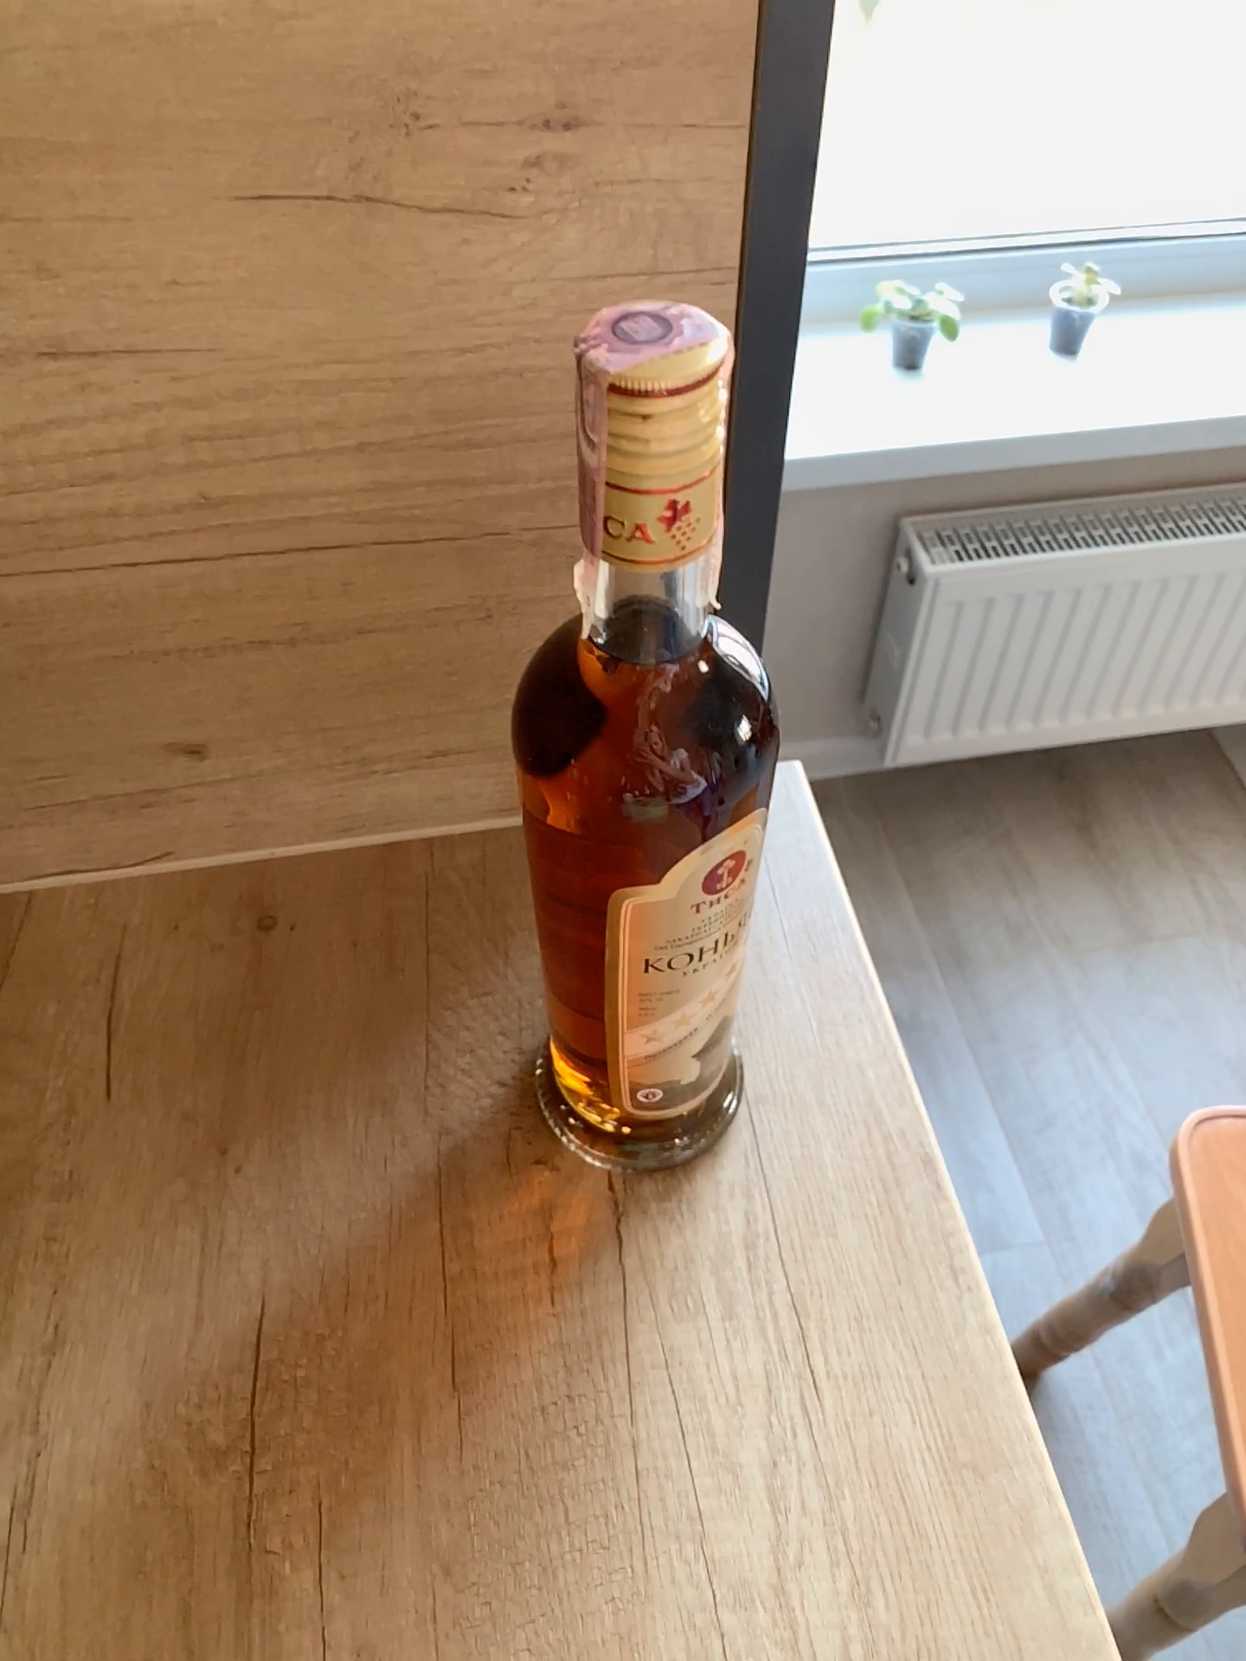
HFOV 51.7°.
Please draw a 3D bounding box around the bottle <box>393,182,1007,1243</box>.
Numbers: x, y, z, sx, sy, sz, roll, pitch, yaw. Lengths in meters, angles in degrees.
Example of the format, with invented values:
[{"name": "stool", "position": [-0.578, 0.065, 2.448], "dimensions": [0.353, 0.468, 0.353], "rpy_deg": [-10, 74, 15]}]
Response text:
[{"name": "bottle", "position": [0.012, 0.000, 0.330], "dimensions": [0.080, 0.279, 0.070], "rpy_deg": [-30, 56, -23]}]
